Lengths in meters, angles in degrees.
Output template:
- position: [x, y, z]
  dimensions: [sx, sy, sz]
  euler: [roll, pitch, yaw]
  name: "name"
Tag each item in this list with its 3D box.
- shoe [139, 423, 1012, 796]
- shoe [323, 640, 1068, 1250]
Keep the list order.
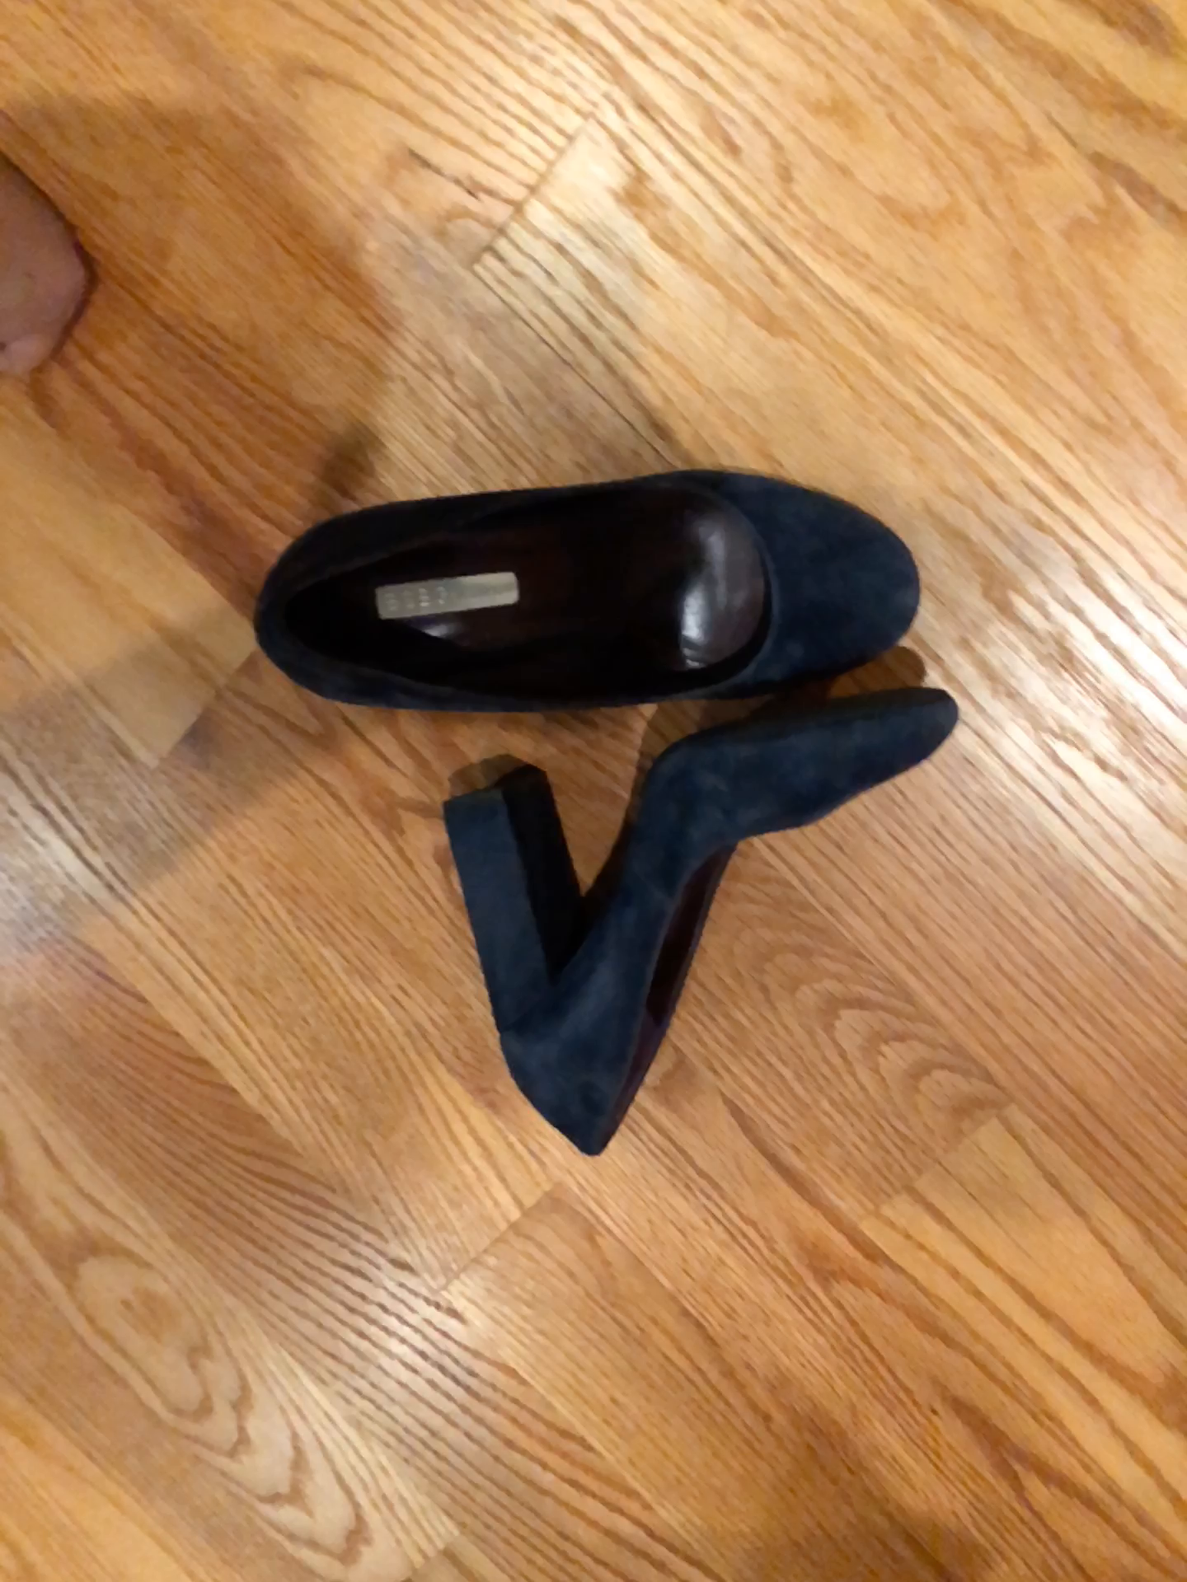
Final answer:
- position: [0.006, -0.057, 0.405]
  dimensions: [0.226, 0.147, 0.080]
  euler: [-2, 102, 14]
  name: "shoe"
- position: [0.036, 0.054, 0.453]
  dimensions: [0.204, 0.080, 0.152]
  euler: [-16, 98, 17]
  name: "shoe"
